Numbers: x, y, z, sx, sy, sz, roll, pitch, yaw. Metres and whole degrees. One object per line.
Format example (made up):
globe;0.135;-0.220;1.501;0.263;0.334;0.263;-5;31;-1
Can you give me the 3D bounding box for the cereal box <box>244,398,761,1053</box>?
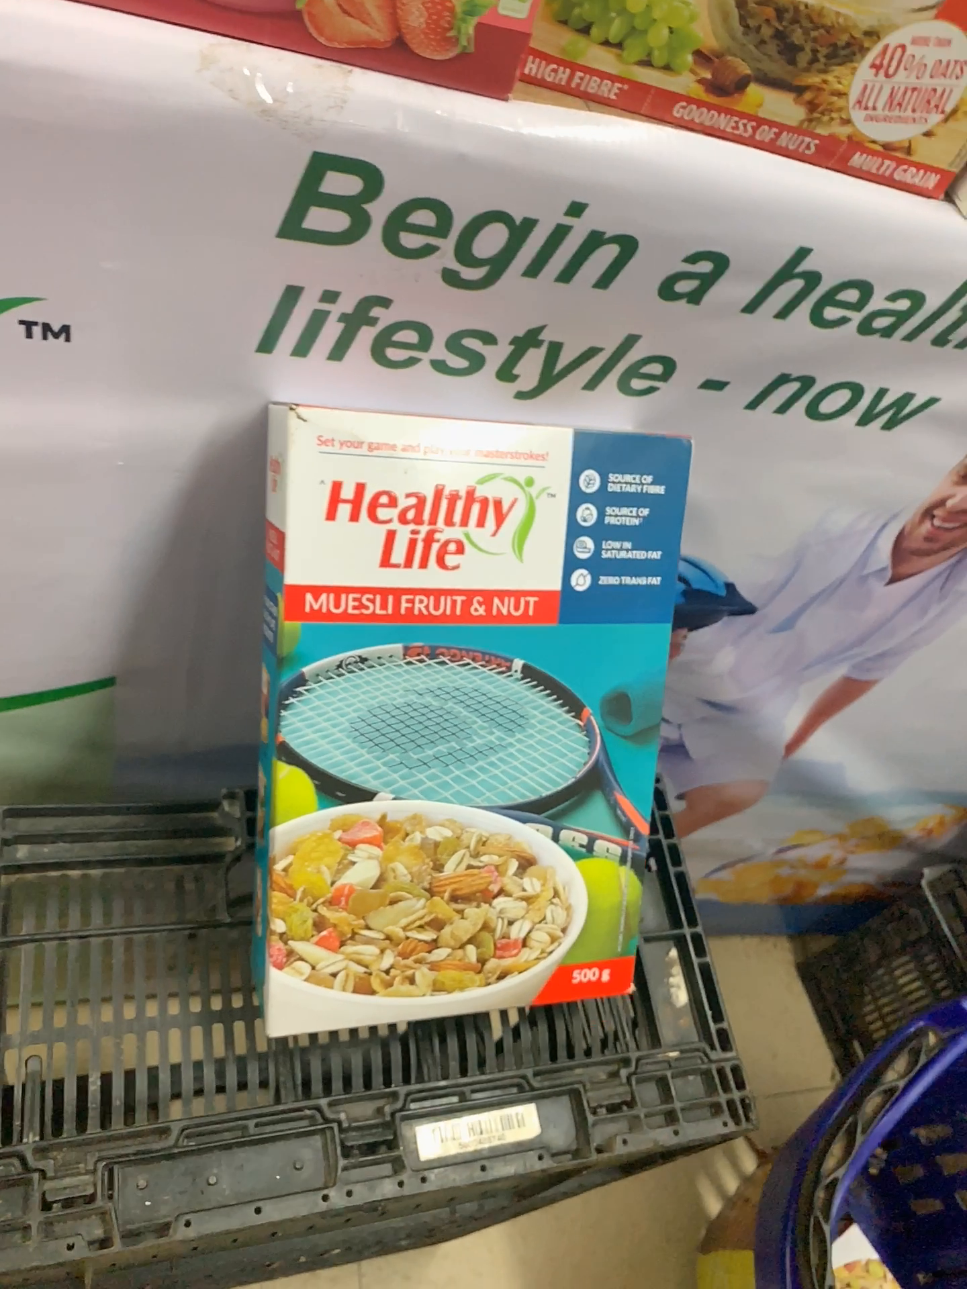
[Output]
cereal box;0.000;0.030;0.427;0.190;0.250;0.070;0;14;-19
